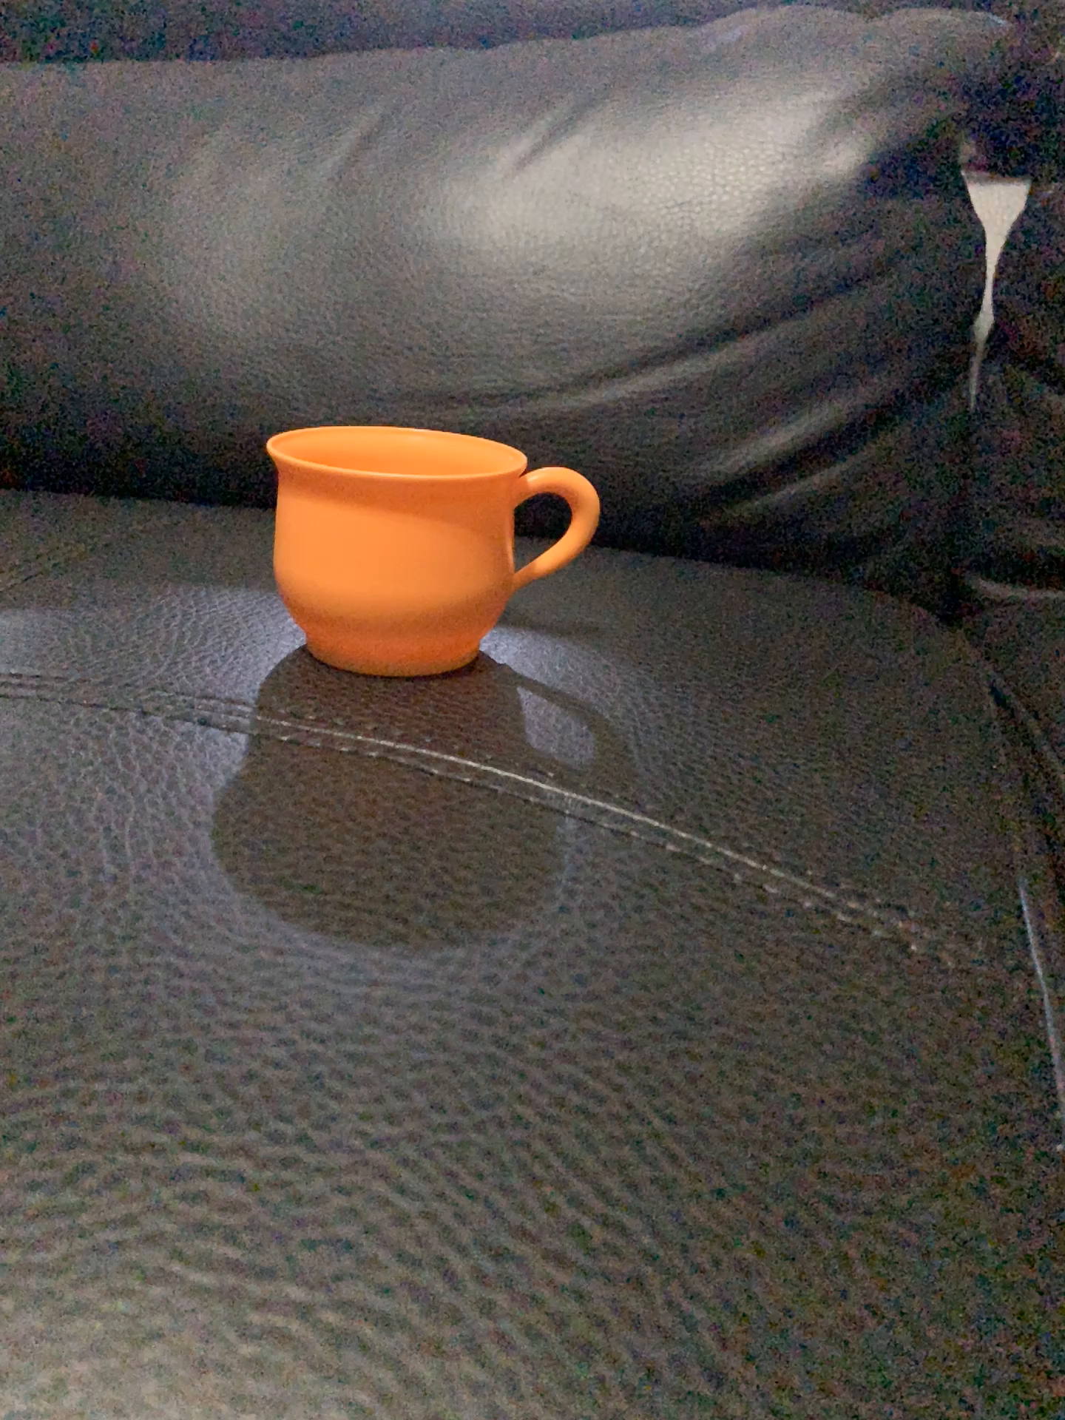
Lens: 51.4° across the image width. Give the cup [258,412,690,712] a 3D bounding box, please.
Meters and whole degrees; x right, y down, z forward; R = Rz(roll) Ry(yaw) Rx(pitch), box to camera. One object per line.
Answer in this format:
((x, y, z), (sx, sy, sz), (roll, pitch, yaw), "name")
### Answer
((-0.017, -0.038, 0.251), (0.080, 0.046, 0.063), (-6, 26, -18), "cup")
